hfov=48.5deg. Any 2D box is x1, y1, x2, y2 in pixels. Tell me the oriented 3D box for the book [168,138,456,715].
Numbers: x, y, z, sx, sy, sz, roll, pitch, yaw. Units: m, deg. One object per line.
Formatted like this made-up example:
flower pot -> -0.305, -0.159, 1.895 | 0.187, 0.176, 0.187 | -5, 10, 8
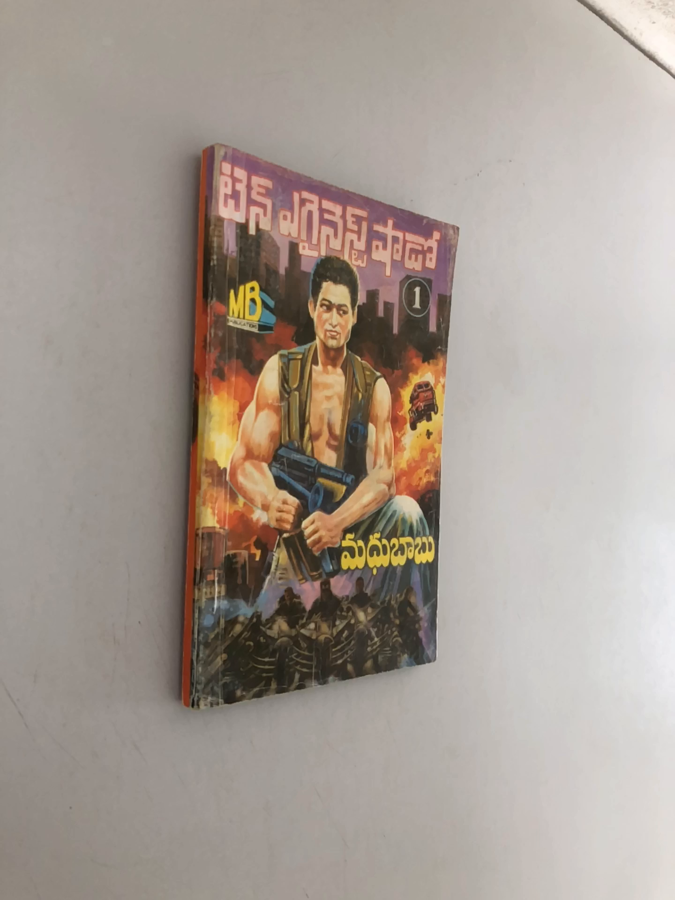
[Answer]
book -> -0.002, -0.005, 0.232 | 0.100, 0.010, 0.151 | 3, 88, -39
